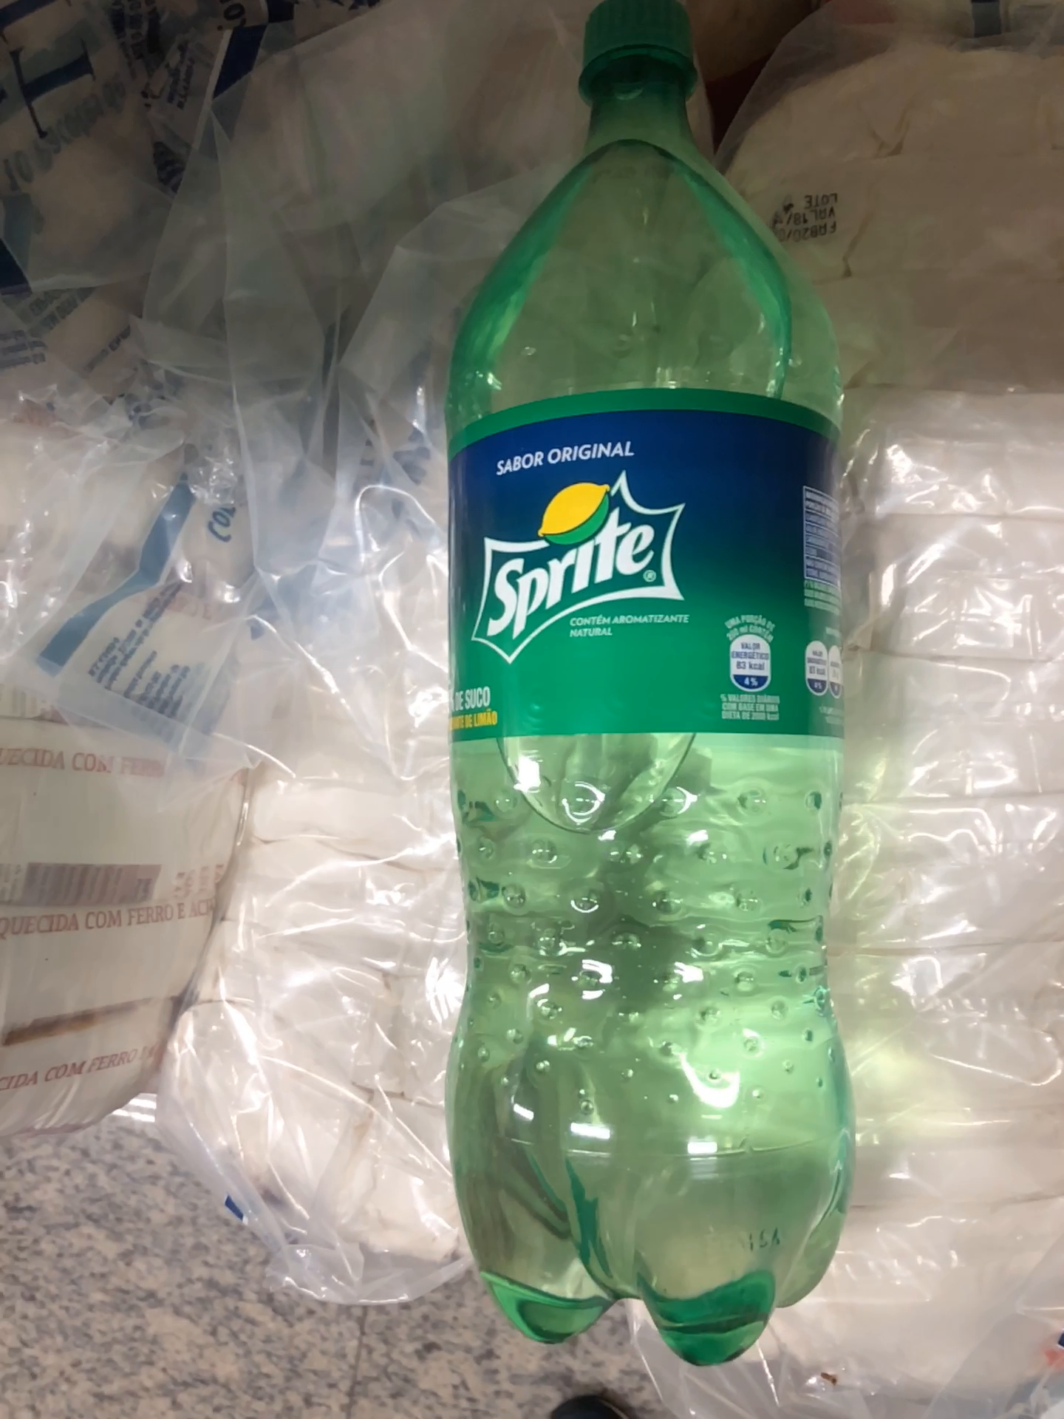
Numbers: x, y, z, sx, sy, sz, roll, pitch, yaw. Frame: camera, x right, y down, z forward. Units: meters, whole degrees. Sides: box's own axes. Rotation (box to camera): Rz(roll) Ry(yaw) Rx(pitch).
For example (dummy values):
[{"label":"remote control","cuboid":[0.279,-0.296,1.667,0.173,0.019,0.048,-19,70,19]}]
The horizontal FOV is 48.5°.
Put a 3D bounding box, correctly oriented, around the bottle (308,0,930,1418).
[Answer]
[{"label":"bottle","cuboid":[0.035,-0.046,0.301,0.110,0.110,0.380,-2,76,20]}]
